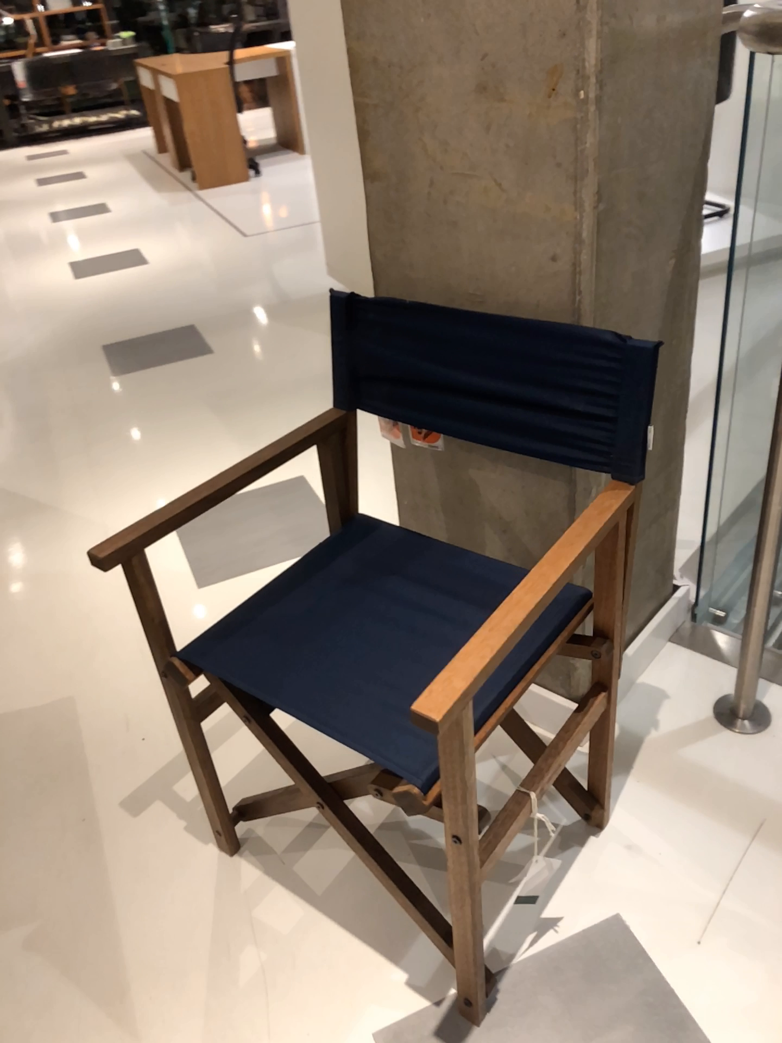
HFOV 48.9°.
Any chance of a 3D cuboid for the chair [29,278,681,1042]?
[{"bbox_3d":[-0.005,0.150,1.209,0.582,0.774,0.503,19,41,36],"label":"chair"}]
